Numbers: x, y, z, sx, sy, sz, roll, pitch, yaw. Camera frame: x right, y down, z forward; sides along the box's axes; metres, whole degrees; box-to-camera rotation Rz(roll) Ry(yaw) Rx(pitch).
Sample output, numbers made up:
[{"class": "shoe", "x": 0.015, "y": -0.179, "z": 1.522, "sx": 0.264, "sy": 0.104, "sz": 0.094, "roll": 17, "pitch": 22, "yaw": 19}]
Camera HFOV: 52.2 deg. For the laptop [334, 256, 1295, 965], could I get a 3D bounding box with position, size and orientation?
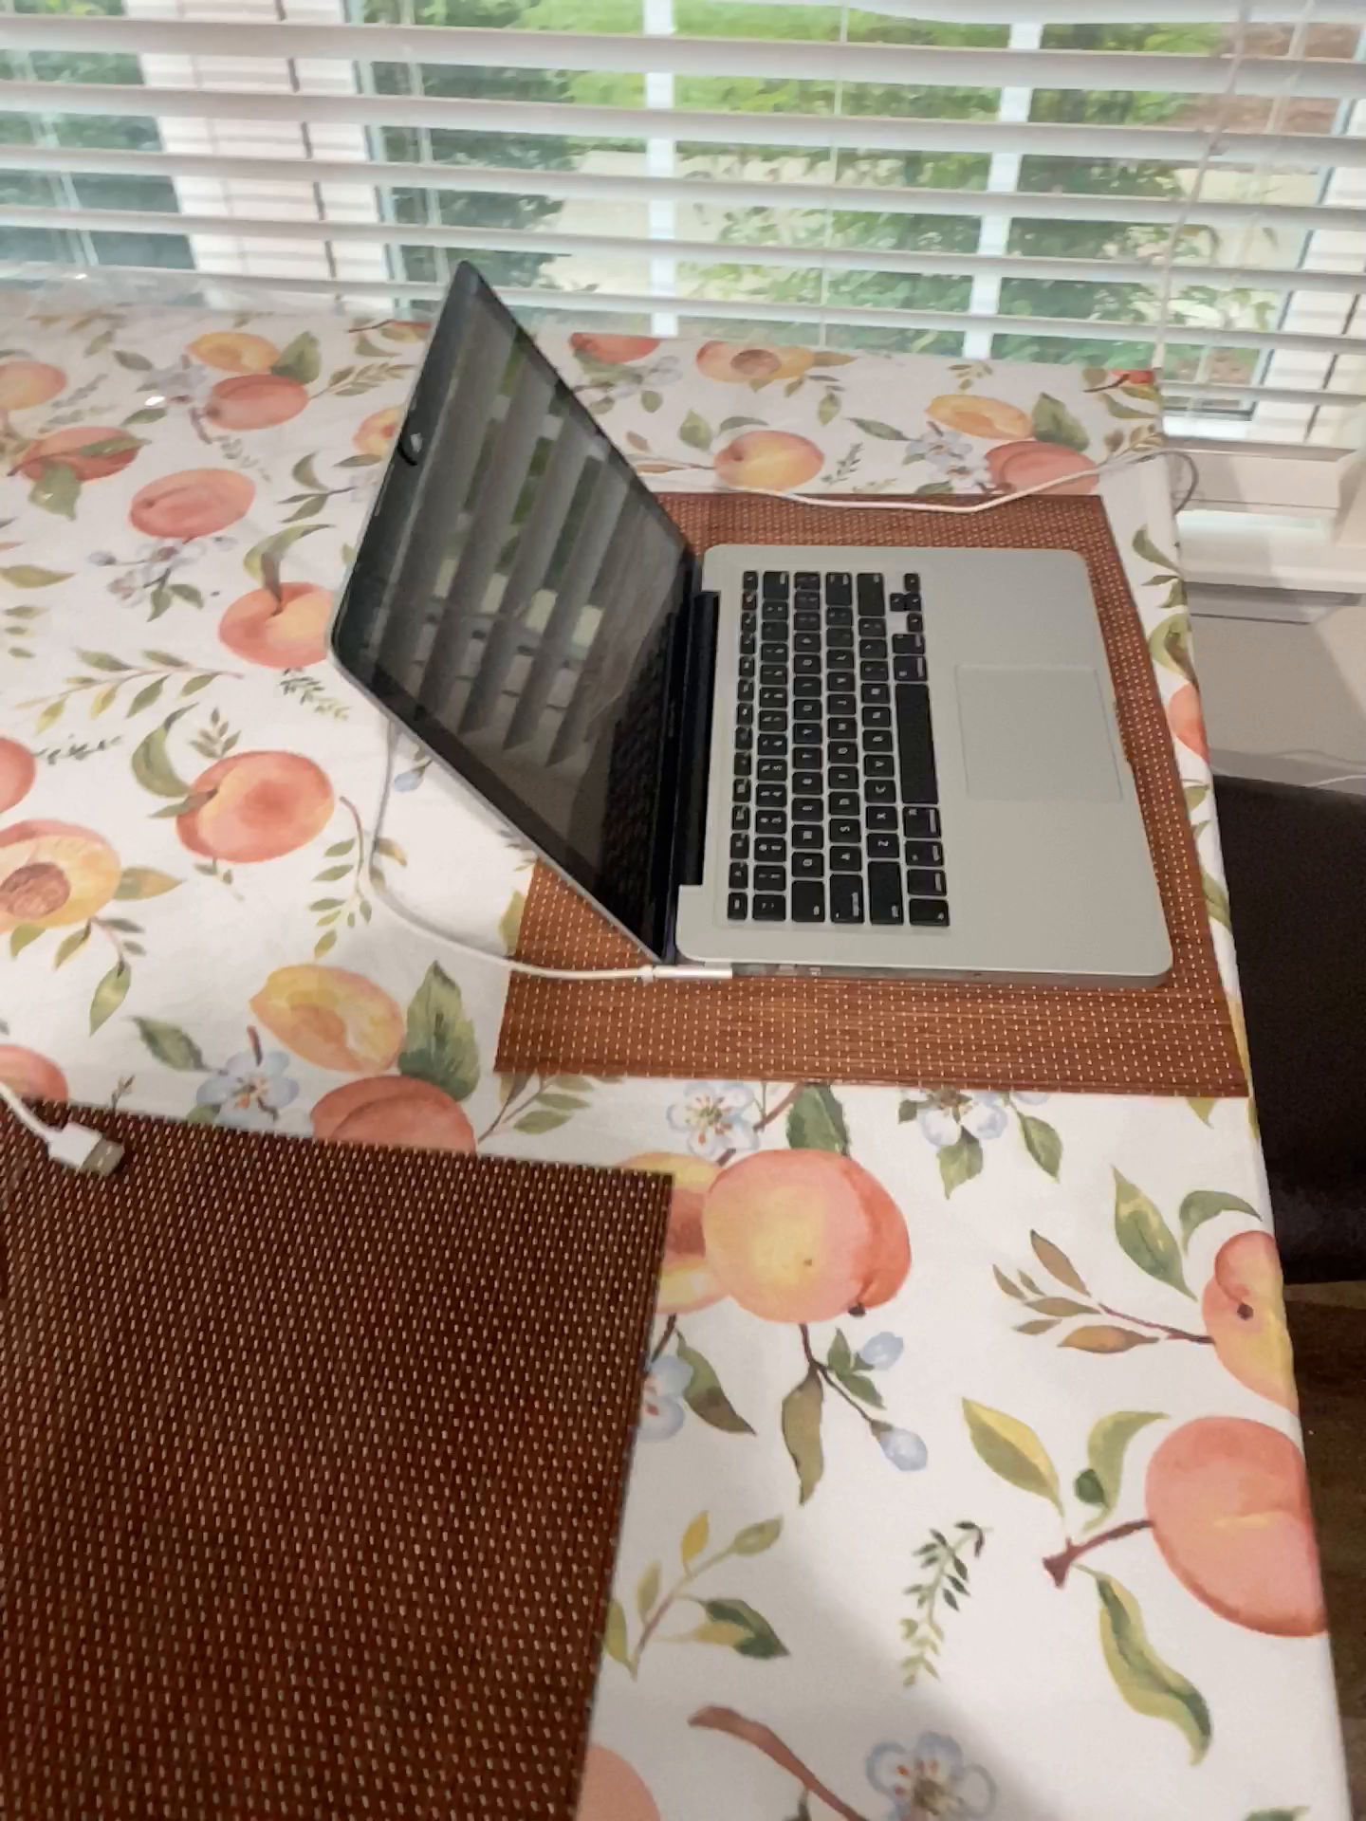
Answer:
[{"class": "laptop", "x": 0.055, "y": -0.156, "z": 0.670, "sx": 0.348, "sy": 0.162, "sz": 0.319, "roll": 2, "pitch": 50, "yaw": 3}]
